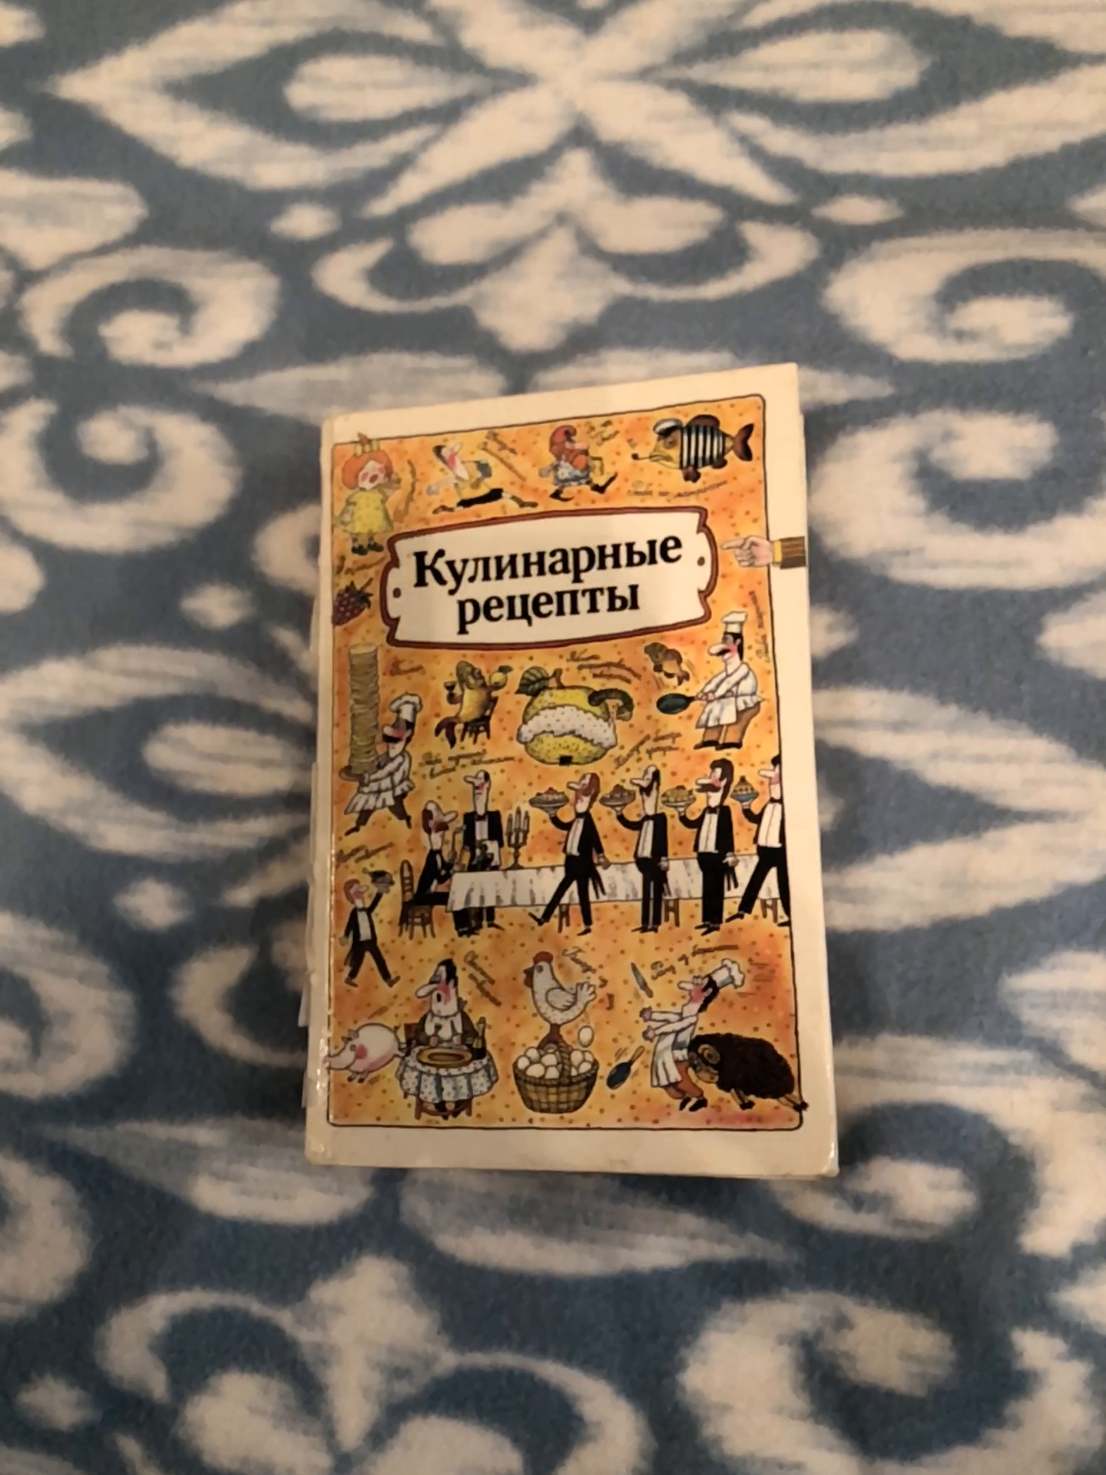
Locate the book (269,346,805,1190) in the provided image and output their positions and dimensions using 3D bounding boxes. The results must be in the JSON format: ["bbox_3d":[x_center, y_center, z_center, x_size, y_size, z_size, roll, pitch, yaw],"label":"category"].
[{"bbox_3d":[-0.007,0.008,0.349,0.141,0.032,0.220,-4,81,13],"label":"book"}]
